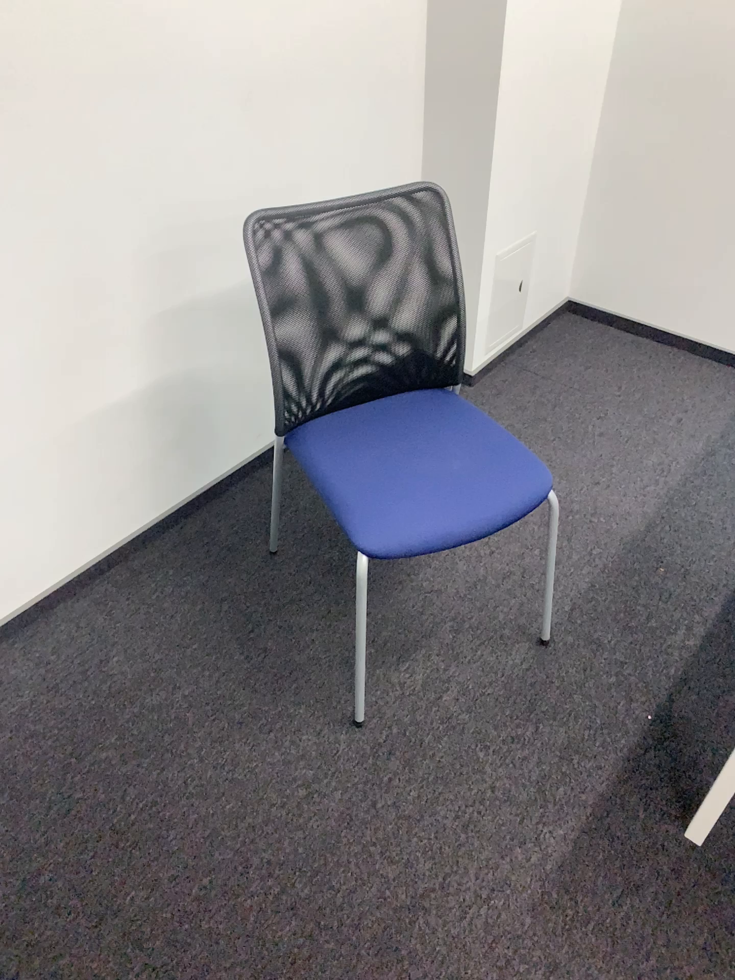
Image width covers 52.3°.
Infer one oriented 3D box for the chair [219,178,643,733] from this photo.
[{"bbox_3d":[0.074,-0.071,1.544,0.491,0.865,0.592,-17,43,-18],"label":"chair"}]
